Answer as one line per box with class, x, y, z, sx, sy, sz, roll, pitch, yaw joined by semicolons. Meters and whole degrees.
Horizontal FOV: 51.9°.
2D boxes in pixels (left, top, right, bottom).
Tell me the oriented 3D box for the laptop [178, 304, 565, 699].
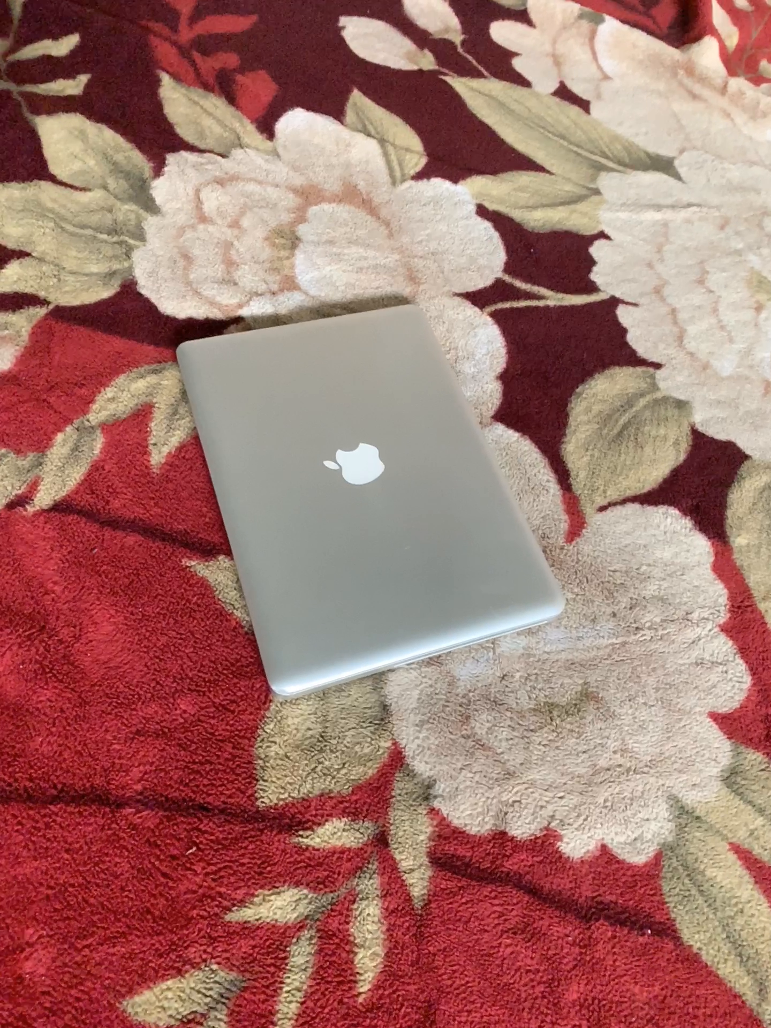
laptop;-0.022;-0.034;0.609;0.209;0.001;0.310;-14;62;-14
